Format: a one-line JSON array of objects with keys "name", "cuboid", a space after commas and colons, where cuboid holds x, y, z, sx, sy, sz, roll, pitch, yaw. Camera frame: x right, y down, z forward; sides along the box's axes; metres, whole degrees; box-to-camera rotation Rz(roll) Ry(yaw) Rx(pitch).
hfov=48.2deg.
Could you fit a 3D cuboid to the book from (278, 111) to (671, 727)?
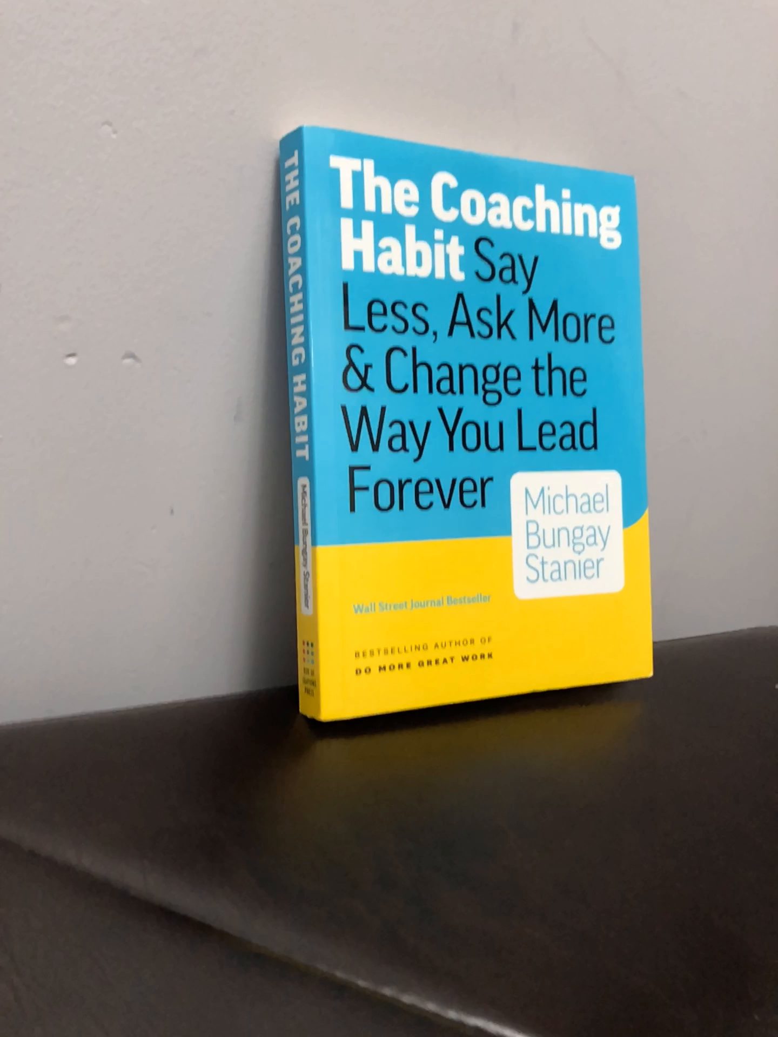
[{"name": "book", "cuboid": [0.035, -0.033, 0.320, 0.145, 0.196, 0.030, -1, -2, -26]}]
